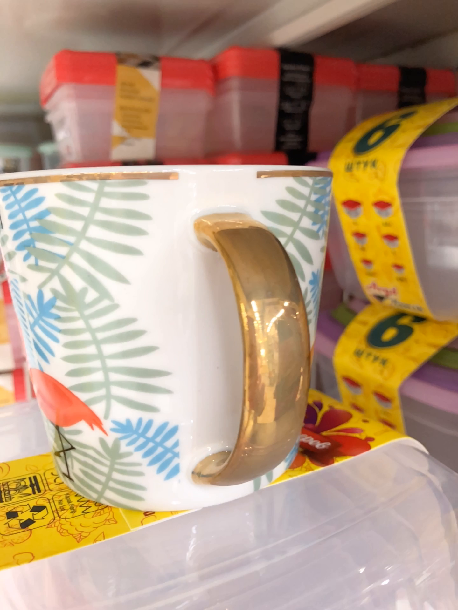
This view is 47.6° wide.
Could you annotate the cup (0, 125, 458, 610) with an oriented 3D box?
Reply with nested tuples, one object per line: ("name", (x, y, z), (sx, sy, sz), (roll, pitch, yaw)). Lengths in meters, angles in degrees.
("cup", (-0.014, 0.000, 0.163), (0.102, 0.085, 0.128), (-11, 14, -37))
